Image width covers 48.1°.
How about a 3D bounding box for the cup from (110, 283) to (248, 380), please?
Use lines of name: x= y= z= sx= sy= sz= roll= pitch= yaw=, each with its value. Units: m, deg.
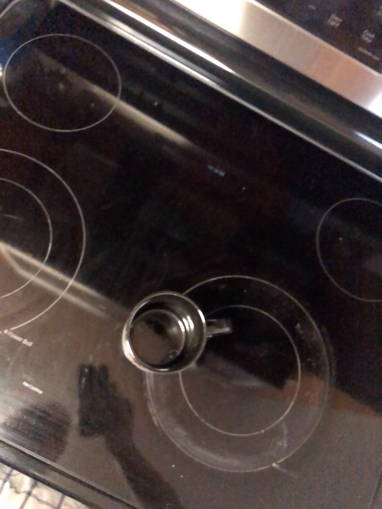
cup: x=-0.017 y=0.086 z=0.458 sx=0.130 sy=0.090 sz=0.090 roll=3 pitch=74 yaw=-11
